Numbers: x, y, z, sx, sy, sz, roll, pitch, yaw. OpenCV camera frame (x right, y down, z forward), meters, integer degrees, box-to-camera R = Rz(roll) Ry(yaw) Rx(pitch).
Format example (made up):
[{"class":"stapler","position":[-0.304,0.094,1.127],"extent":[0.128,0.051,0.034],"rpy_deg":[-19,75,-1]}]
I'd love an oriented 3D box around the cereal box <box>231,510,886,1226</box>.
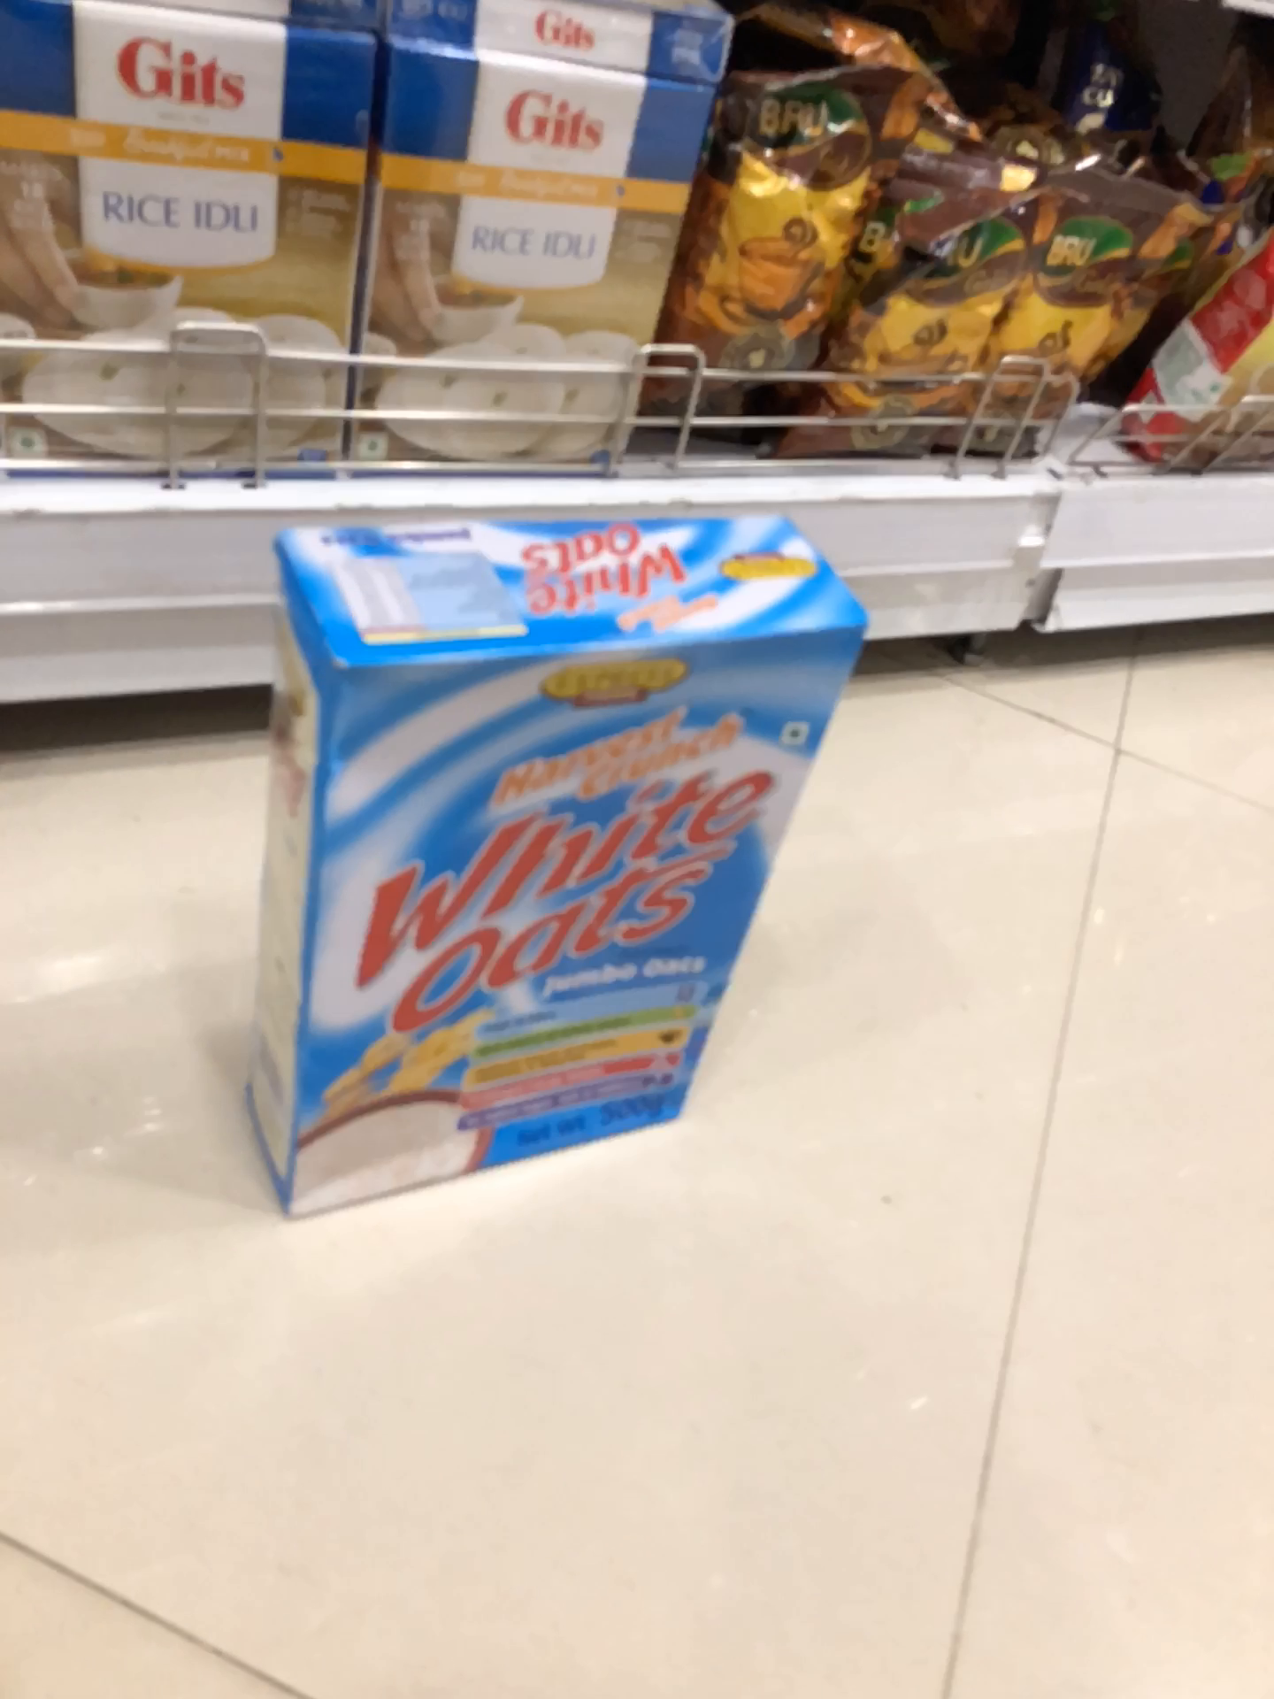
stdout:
[{"class":"cereal box","position":[-0.037,0.011,0.422],"extent":[0.151,0.218,0.060],"rpy_deg":[-9,47,-26]}]
